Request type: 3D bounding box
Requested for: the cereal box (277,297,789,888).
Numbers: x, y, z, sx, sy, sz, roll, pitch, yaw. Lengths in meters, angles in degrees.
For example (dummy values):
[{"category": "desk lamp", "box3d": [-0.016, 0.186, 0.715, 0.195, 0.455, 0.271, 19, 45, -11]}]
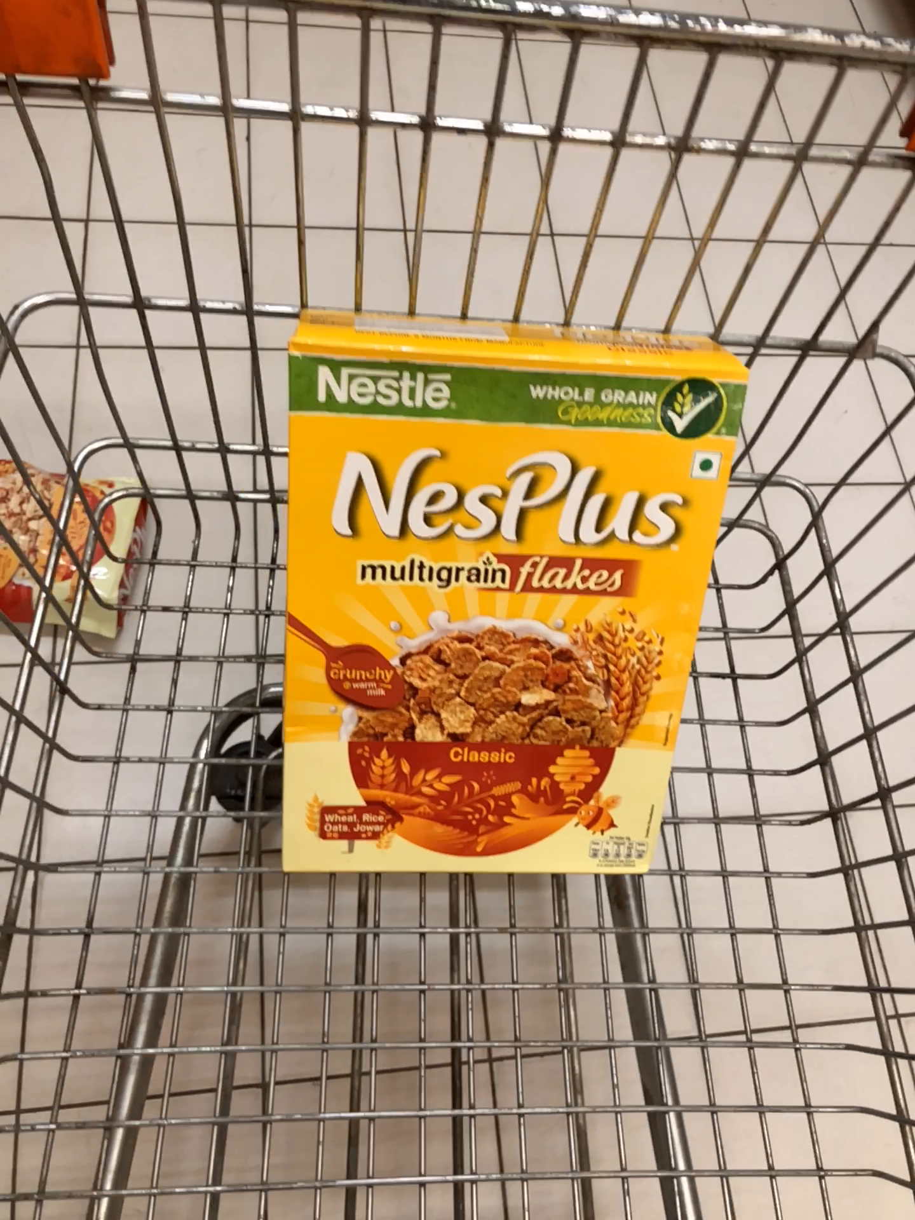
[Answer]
[{"category": "cereal box", "box3d": [0.018, -0.002, 0.467, 0.190, 0.249, 0.090, 2, 23, -8]}]
